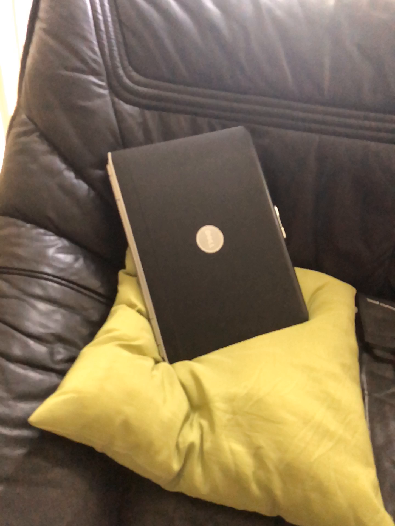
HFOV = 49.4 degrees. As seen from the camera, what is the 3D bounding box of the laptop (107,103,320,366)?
[{"bbox_3d":[0.024,-0.055,0.679,0.247,0.033,0.345,-15,83,-13],"label":"laptop"}]
